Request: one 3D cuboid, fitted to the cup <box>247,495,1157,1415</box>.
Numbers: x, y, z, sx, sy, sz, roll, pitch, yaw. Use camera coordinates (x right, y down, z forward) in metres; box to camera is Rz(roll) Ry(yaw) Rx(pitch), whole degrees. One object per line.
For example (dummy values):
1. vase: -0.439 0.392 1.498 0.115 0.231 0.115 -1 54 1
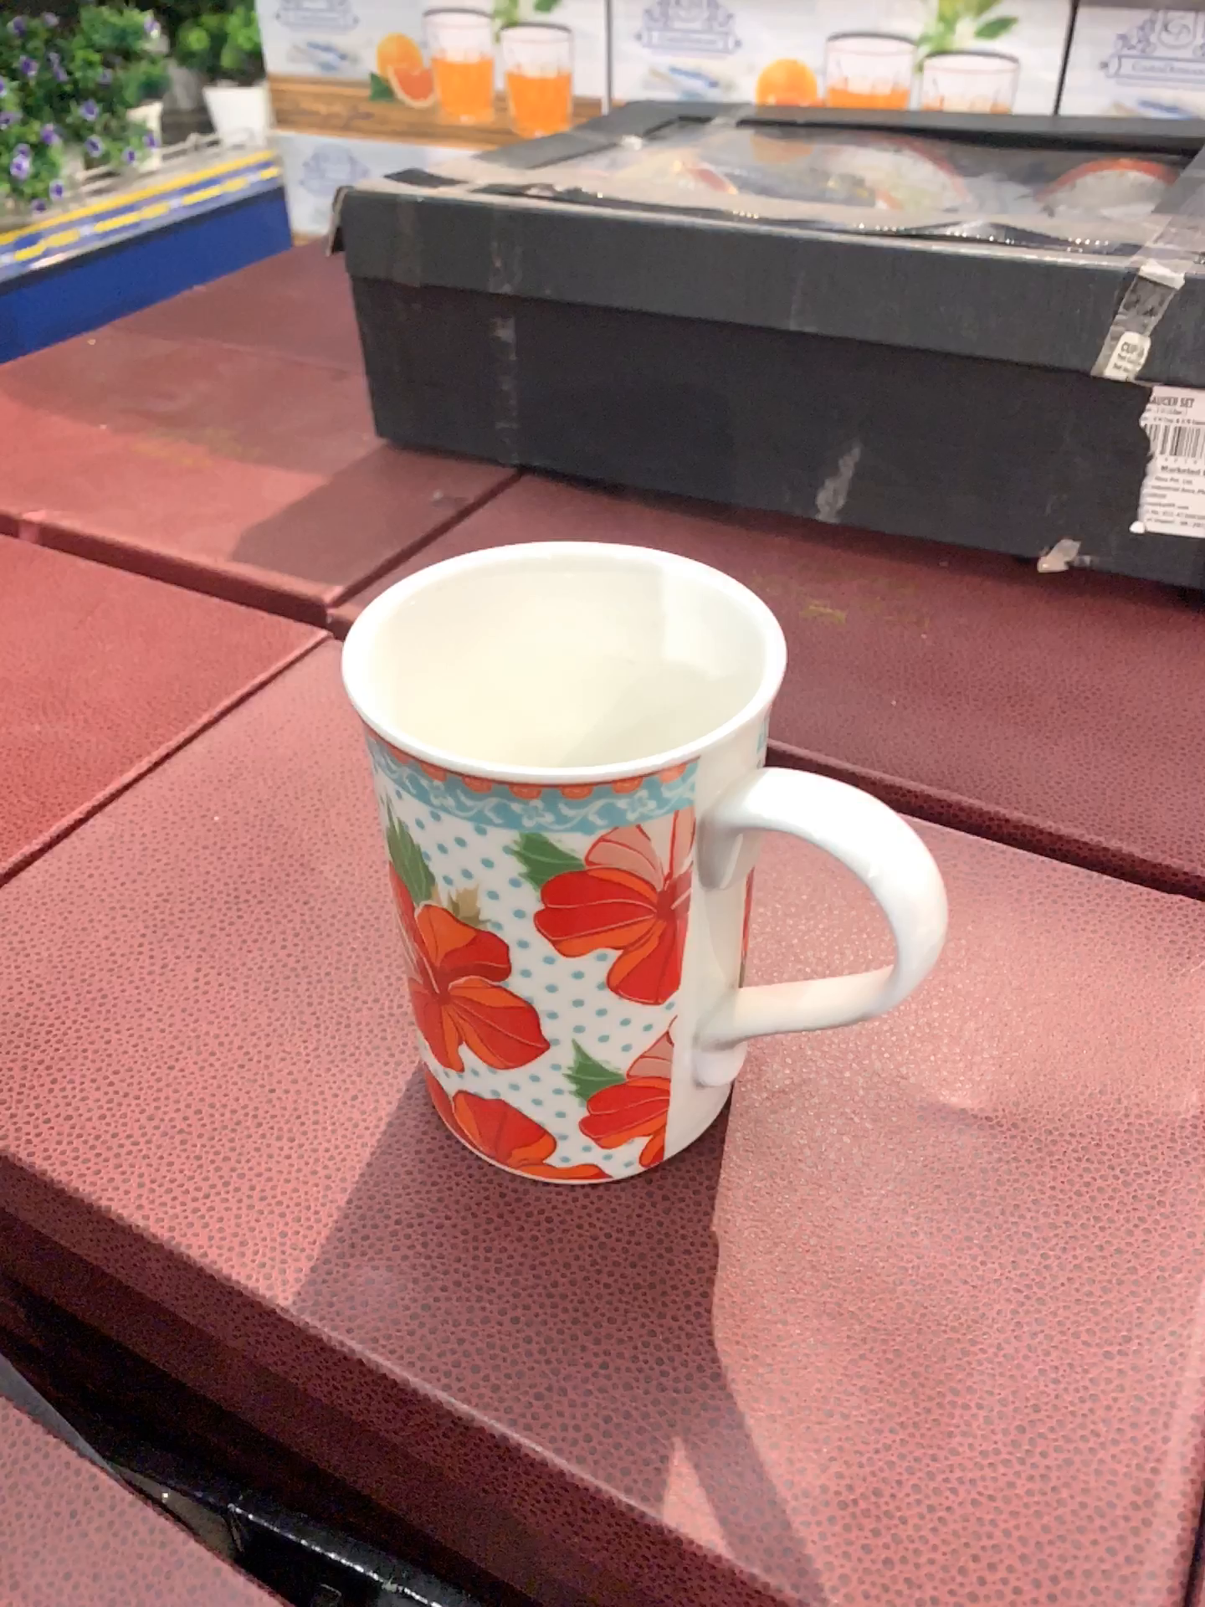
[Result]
1. cup: 0.018 0.022 0.231 0.120 0.110 0.080 19 43 24
